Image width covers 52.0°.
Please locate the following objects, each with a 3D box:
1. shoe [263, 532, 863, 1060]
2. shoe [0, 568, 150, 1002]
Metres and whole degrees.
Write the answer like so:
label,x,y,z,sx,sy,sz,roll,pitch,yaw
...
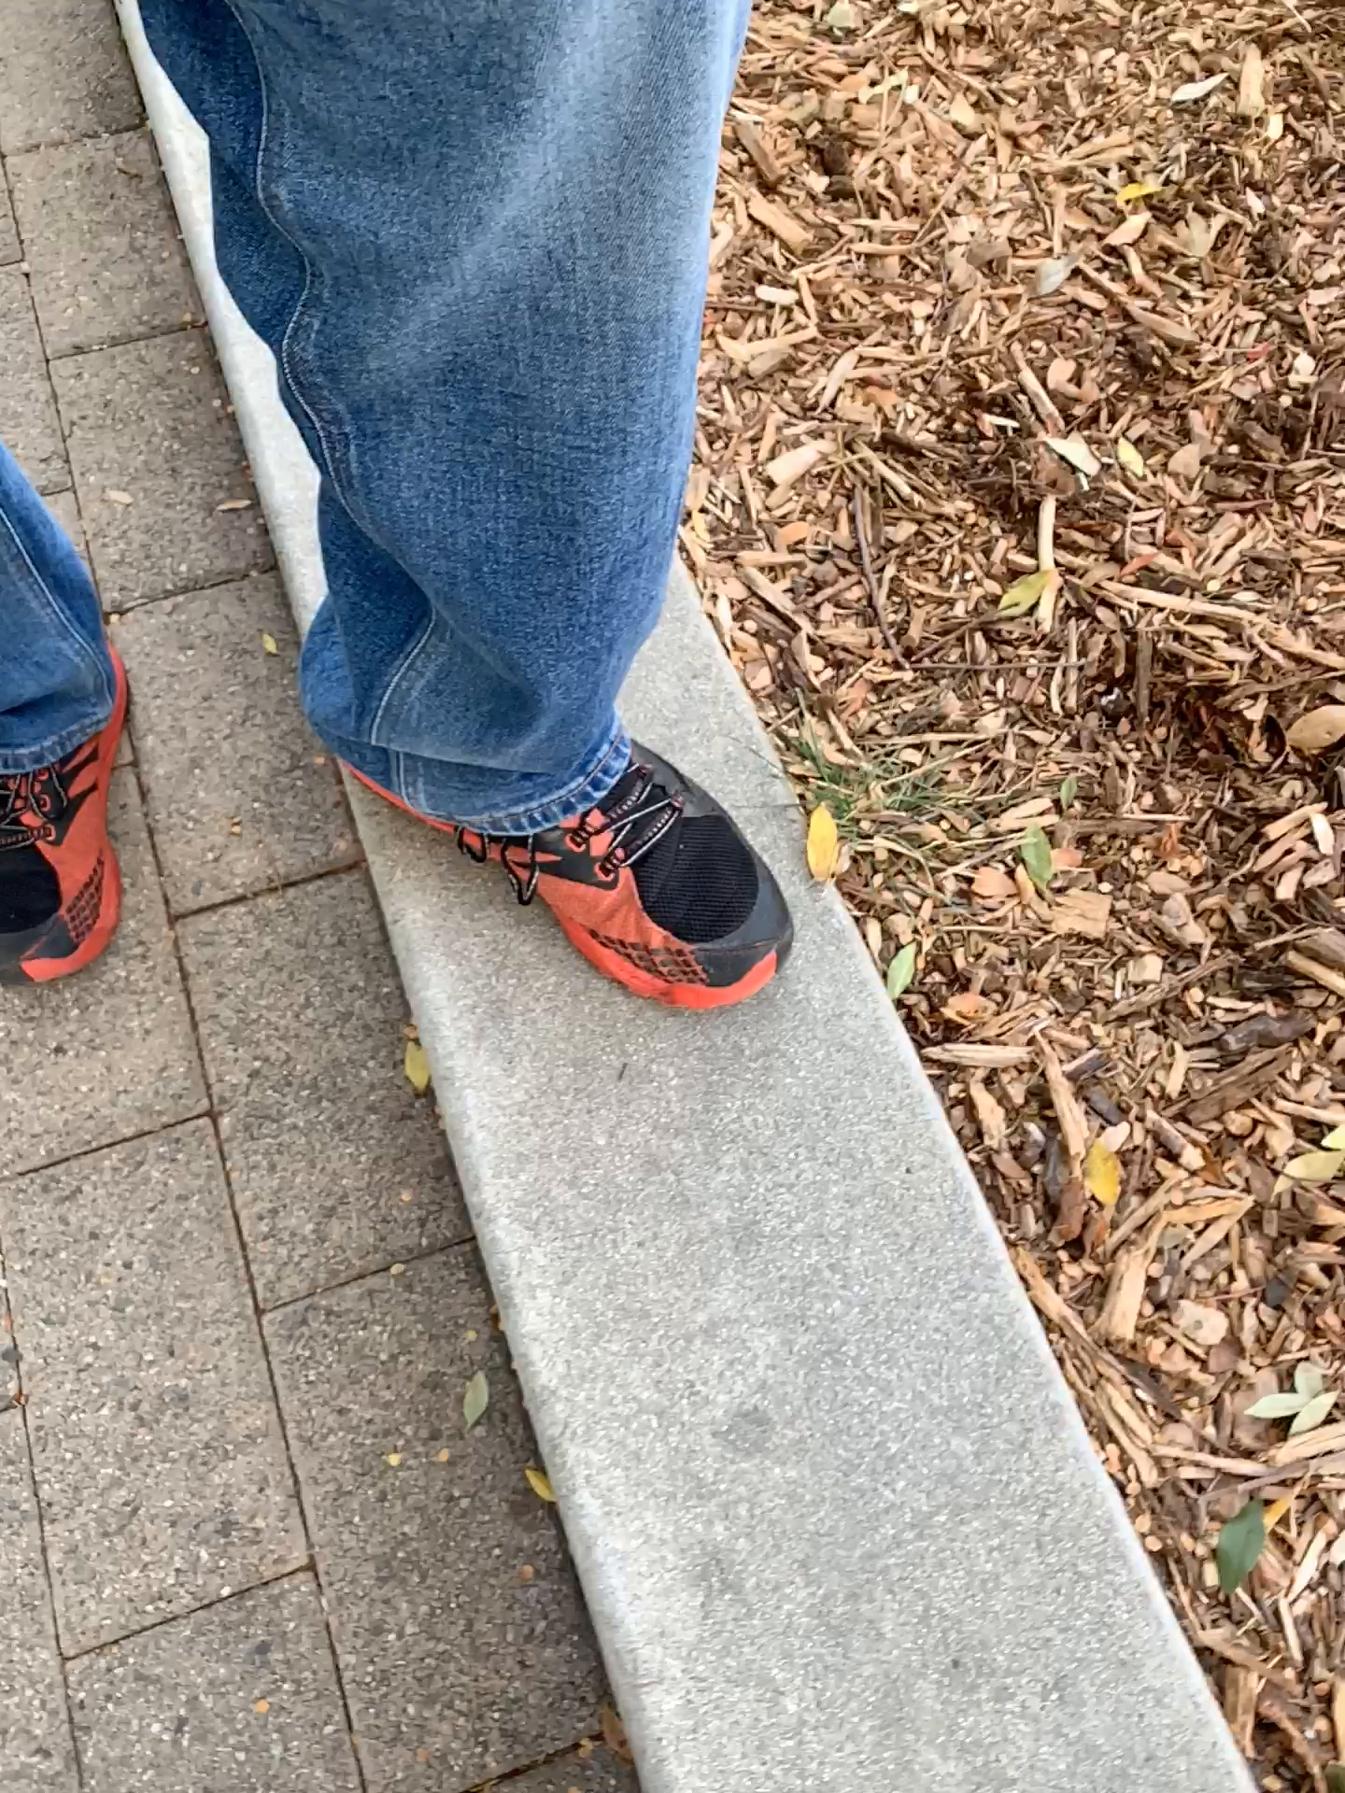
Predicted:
label,x,y,z,sx,sy,sz,roll,pitch,yaw
shoe,-0.063,-0.061,0.761,0.310,0.080,0.122,36,66,15
shoe,-0.474,-0.089,1.015,0.136,0.080,0.307,-10,63,-8
